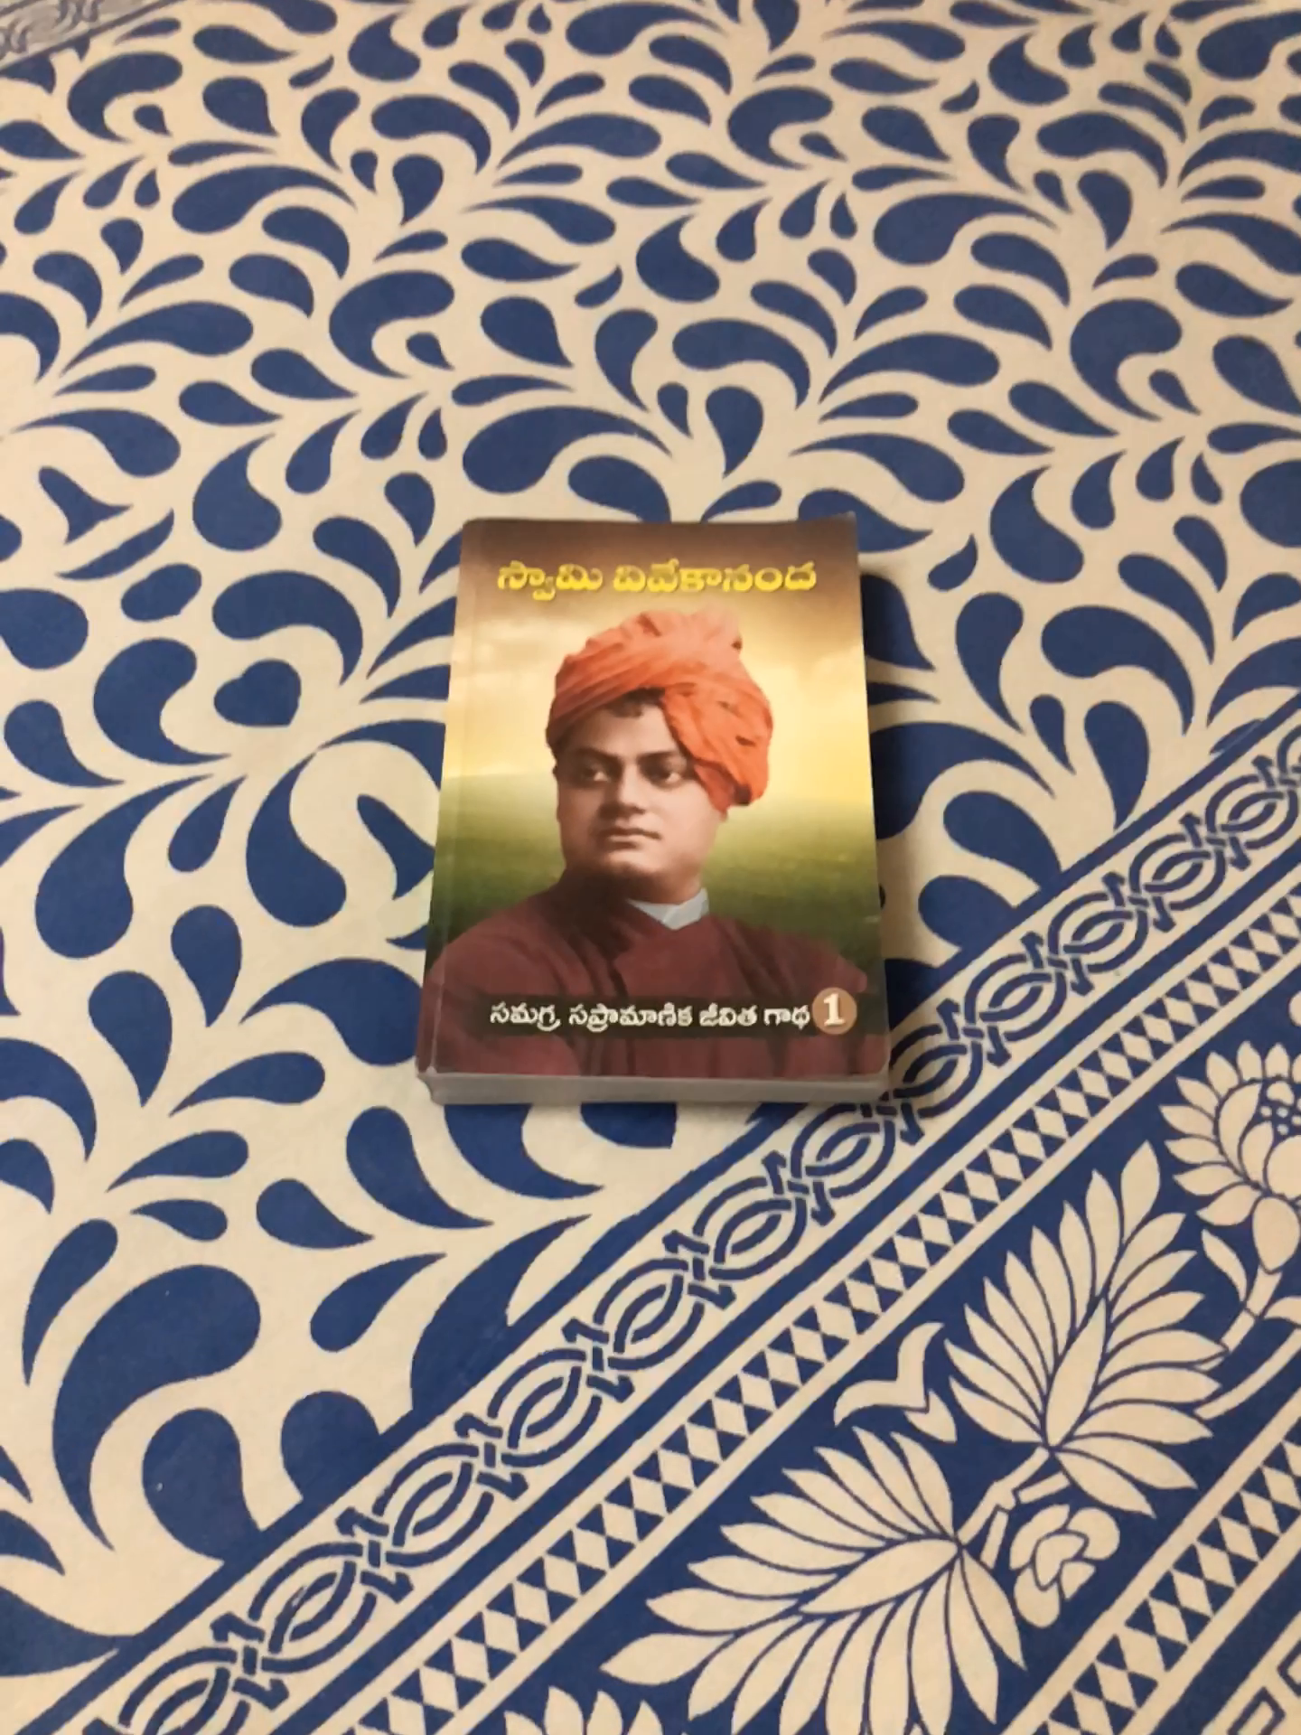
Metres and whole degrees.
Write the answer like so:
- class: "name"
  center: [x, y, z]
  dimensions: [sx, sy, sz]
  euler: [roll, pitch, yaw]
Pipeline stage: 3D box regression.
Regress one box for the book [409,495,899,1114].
- class: "book"
  center: [0.001, -0.027, 0.471]
  dimensions: [0.140, 0.030, 0.210]
  euler: [1, 64, -1]
